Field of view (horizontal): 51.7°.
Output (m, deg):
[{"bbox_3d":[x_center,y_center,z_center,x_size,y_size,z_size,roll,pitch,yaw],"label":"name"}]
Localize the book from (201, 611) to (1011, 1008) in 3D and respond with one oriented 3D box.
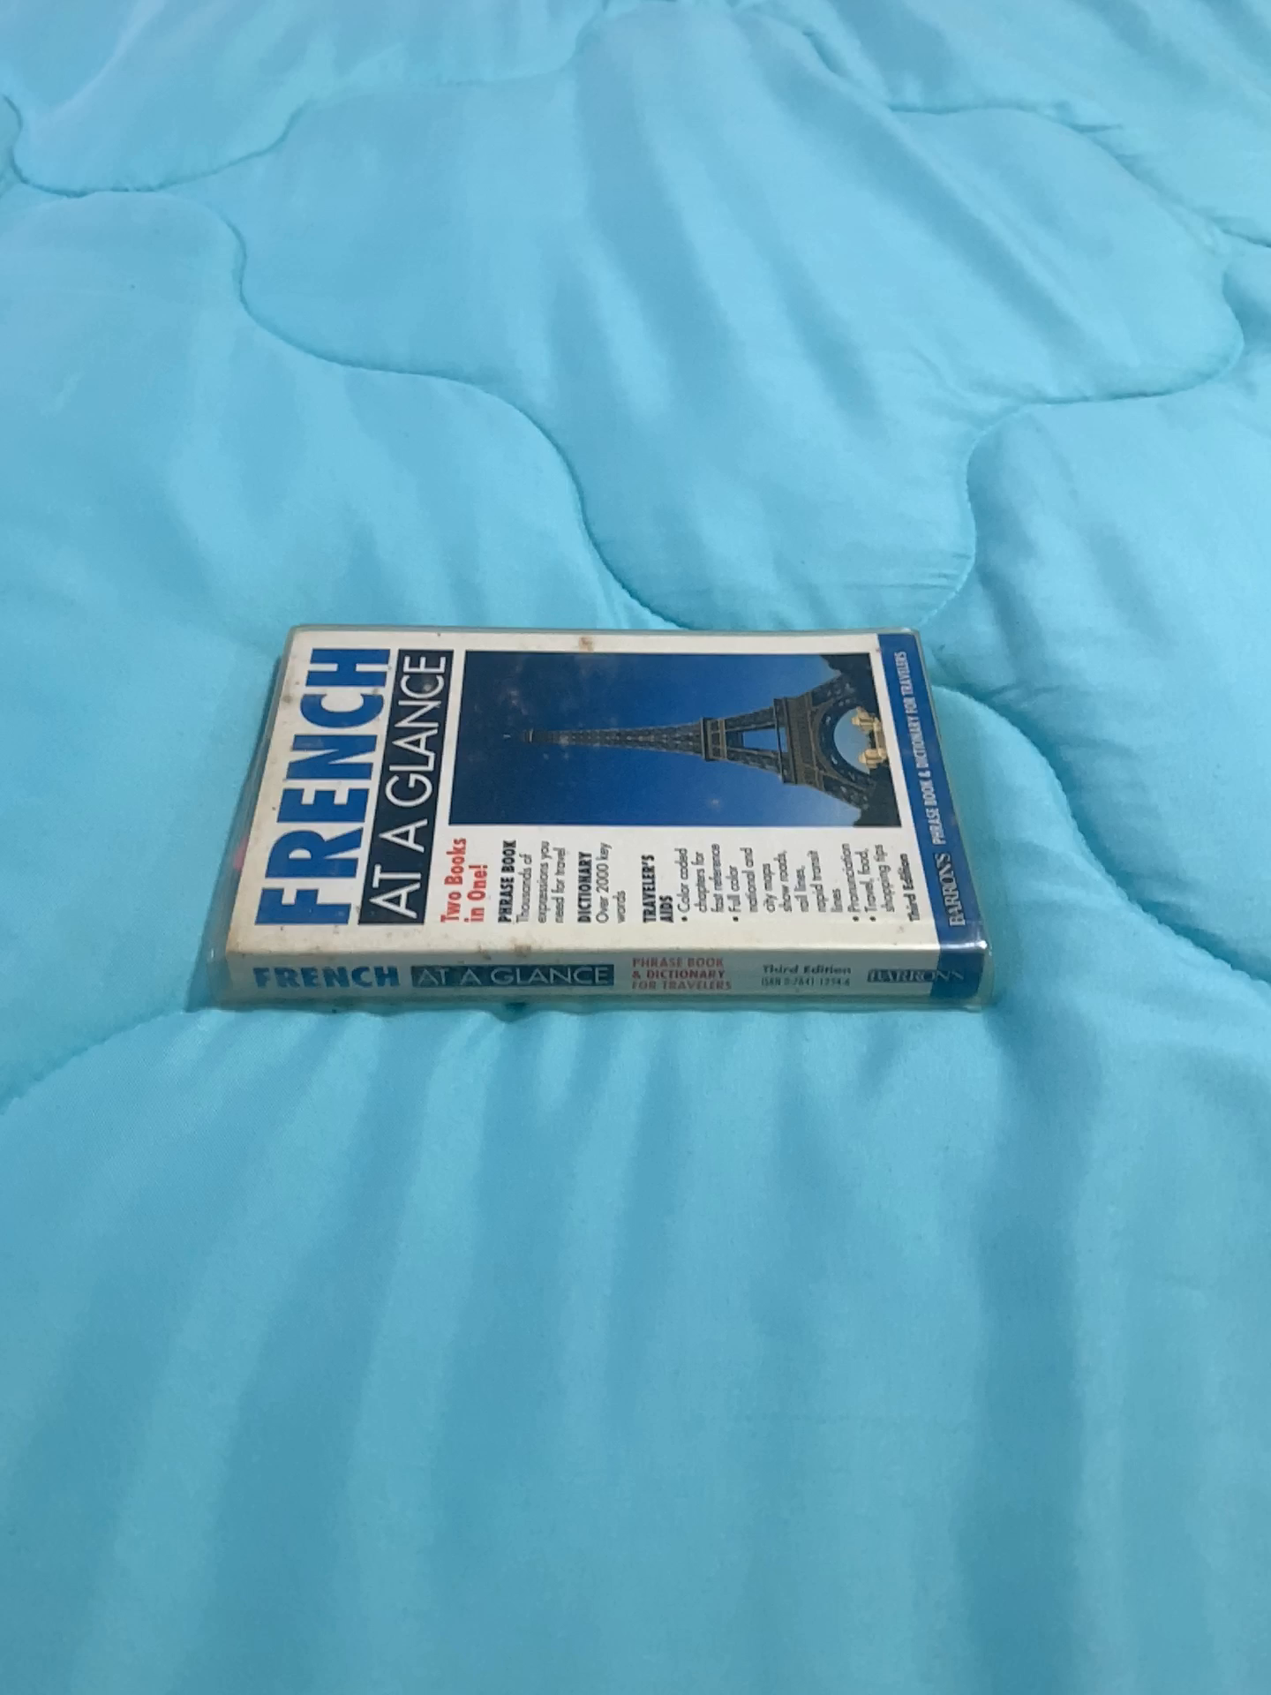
[{"bbox_3d":[-0.006,-0.013,0.287,0.154,0.017,0.099,0,50,-3],"label":"book"}]
